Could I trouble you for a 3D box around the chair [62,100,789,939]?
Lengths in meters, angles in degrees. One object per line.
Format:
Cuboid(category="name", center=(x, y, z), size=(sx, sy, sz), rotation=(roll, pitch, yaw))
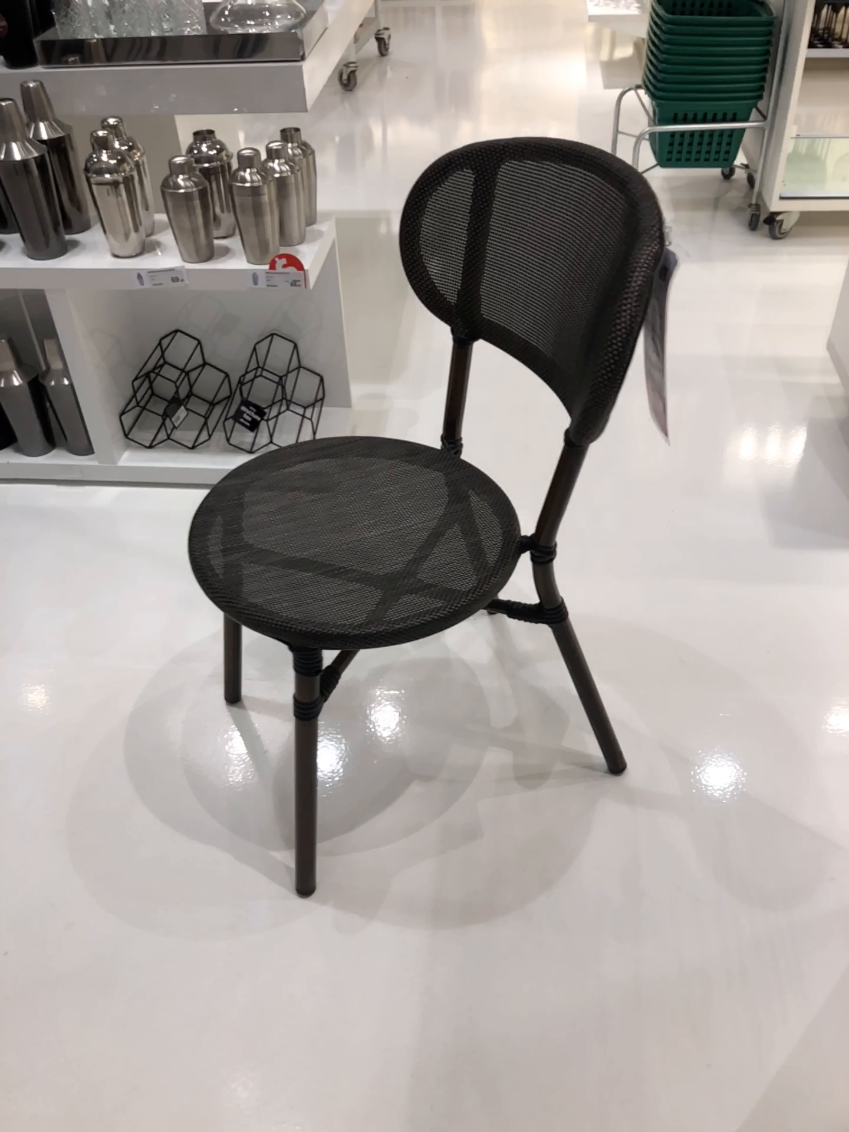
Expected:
Cuboid(category="chair", center=(-0.017, -0.059, 1.133), size=(0.551, 0.764, 0.473), rotation=(-18, 42, -17))
